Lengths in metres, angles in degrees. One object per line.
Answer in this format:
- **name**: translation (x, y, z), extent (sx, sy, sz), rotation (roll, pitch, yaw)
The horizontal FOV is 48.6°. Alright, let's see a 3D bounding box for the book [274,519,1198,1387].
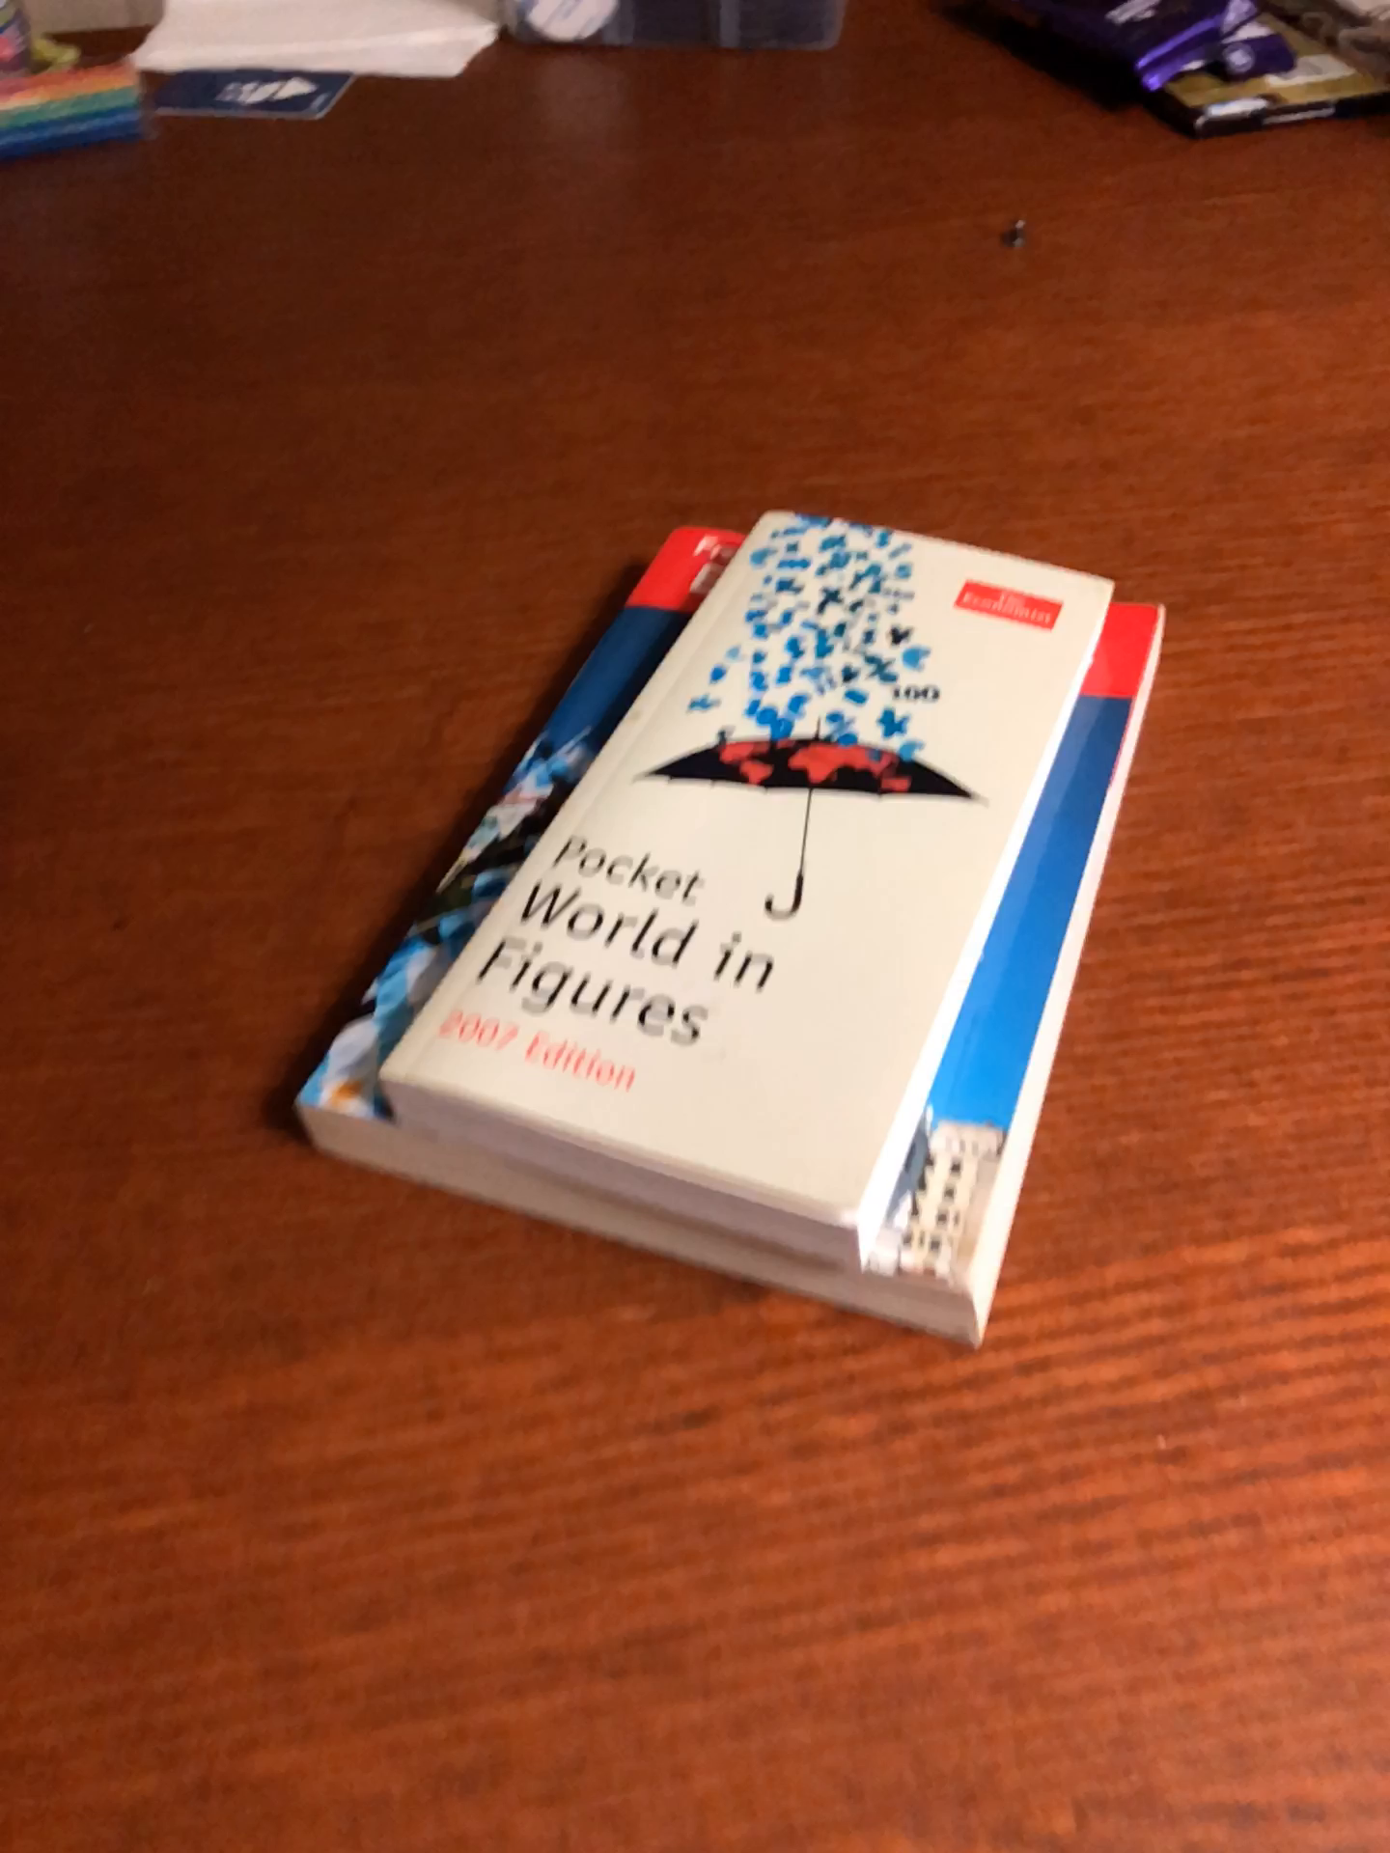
- **book**: translation (0.024, -0.016, 0.345), extent (0.140, 0.020, 0.211), rotation (14, 49, 15)

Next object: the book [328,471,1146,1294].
- **book**: translation (0.022, -0.028, 0.322), extent (0.100, 0.020, 0.201), rotation (16, 49, 17)
